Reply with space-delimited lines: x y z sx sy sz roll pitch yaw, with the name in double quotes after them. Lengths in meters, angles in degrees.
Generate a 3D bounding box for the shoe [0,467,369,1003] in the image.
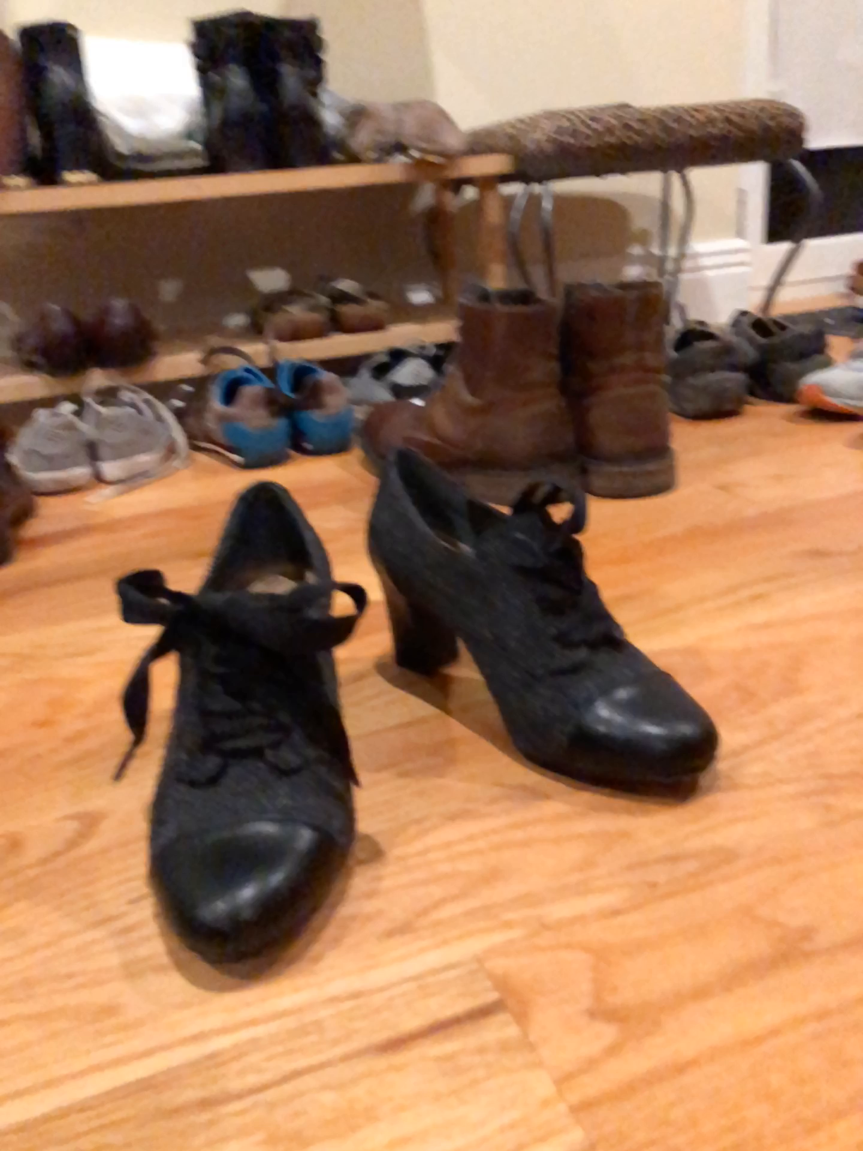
-0.084 0.045 0.409 0.093 0.125 0.224 -5 21 0 "shoe"

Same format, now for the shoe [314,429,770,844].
0.043 0.011 0.470 0.088 0.125 0.223 -18 24 -32 "shoe"
